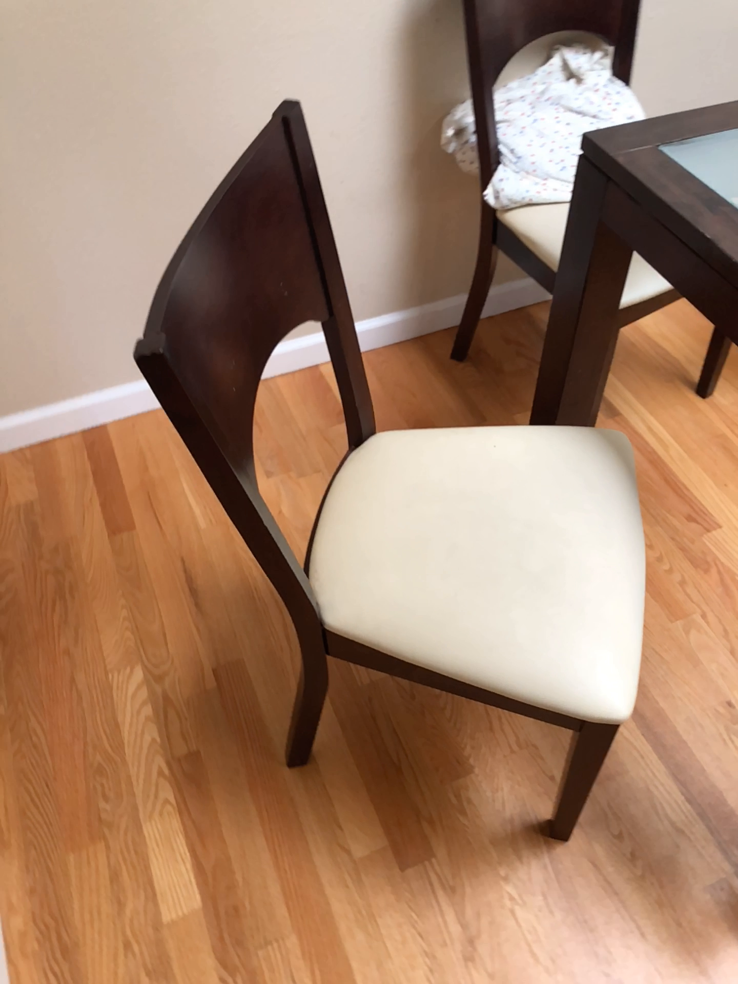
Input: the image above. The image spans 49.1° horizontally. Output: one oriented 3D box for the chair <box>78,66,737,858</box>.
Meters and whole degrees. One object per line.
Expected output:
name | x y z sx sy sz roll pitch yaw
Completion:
chair | 0.108 0.009 1.129 0.570 0.896 0.593 7 49 7
